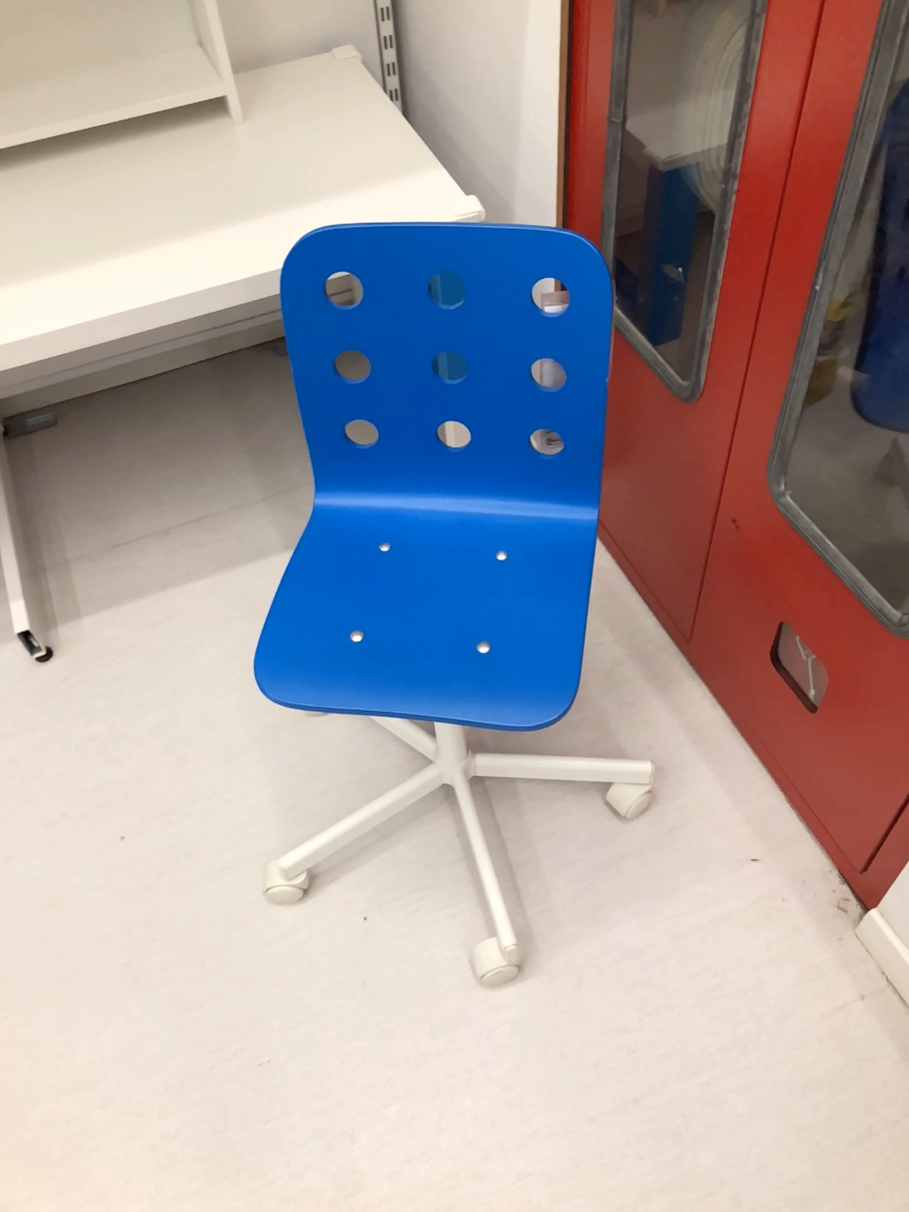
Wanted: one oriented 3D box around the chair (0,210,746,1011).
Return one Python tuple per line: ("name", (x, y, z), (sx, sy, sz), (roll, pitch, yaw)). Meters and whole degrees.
("chair", (-0.035, 0.017, 1.089), (0.570, 0.626, 0.563), (5, 52, 8))
